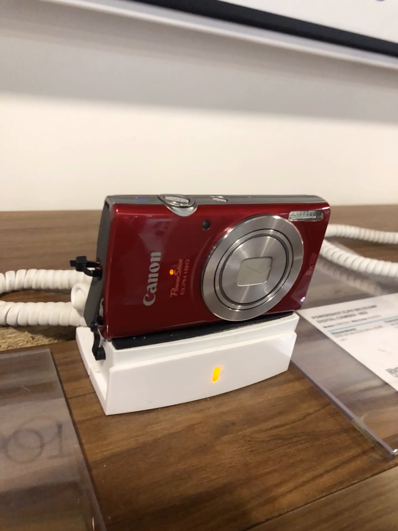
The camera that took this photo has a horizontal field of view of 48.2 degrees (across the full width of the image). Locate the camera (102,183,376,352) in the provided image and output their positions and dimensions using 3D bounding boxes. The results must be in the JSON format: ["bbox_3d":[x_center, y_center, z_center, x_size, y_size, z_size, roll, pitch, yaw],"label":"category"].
[{"bbox_3d":[0.016,-0.003,0.176,0.100,0.050,0.030,-4,26,-28],"label":"camera"}]
